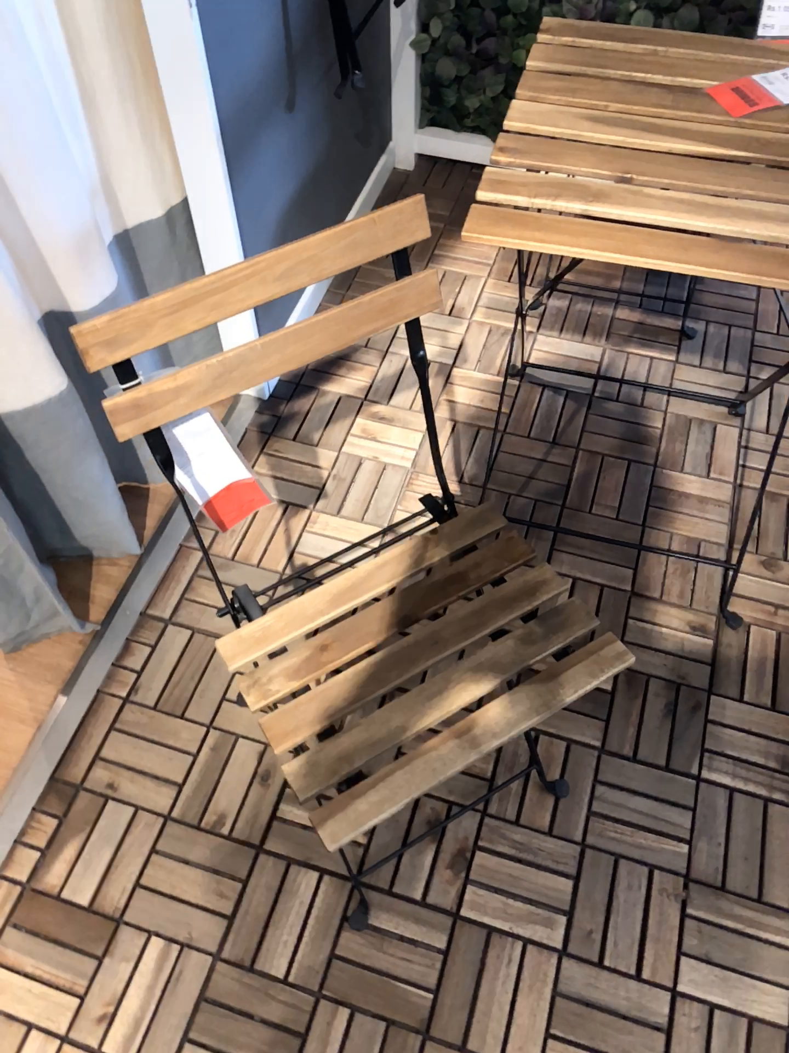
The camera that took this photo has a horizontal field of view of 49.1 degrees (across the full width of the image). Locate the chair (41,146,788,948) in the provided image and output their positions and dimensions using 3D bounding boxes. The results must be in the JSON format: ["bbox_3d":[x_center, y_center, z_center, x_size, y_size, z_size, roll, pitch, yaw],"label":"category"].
[{"bbox_3d":[0.006,0.080,0.971,0.430,0.726,0.432,-27,58,-17],"label":"chair"}]
